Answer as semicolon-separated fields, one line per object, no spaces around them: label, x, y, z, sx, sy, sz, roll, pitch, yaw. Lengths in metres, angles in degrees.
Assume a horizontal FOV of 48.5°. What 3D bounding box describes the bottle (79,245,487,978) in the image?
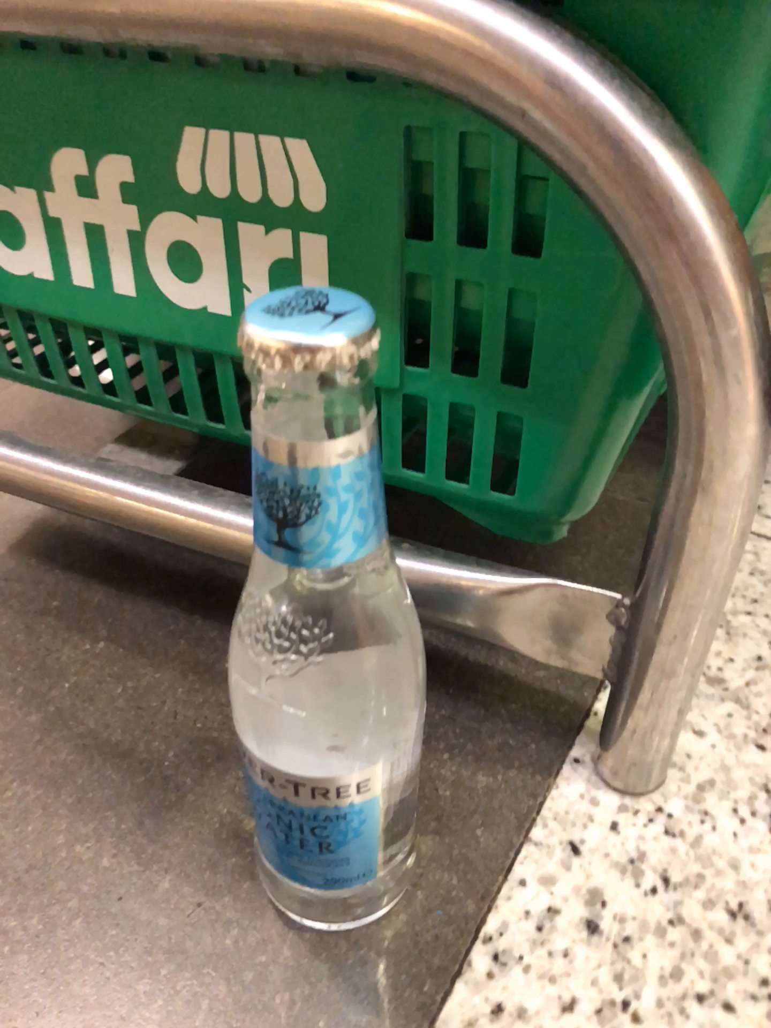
bottle;-0.017;0.037;0.219;0.060;0.189;0.050;16;40;21
